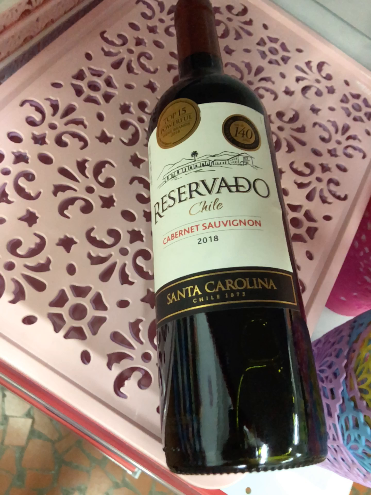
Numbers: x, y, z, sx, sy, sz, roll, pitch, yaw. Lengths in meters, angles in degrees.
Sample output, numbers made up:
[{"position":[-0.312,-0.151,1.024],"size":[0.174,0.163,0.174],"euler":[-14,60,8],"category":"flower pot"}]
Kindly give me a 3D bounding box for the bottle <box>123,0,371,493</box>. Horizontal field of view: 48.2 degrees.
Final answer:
[{"position":[0.009,-0.057,0.236],"size":[0.080,0.060,0.331],"euler":[2,62,-14],"category":"bottle"}]
